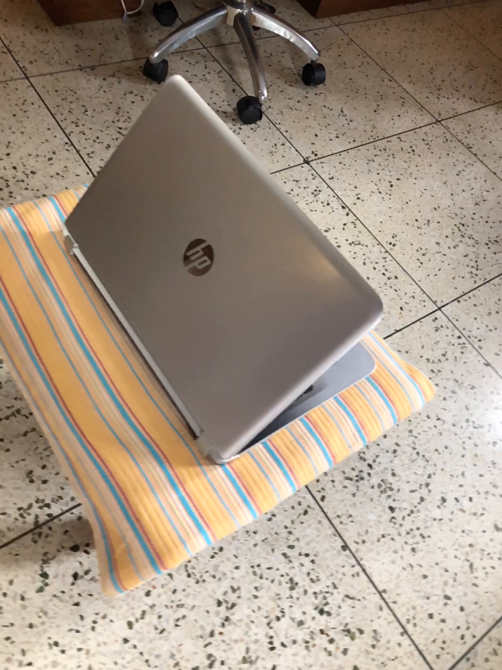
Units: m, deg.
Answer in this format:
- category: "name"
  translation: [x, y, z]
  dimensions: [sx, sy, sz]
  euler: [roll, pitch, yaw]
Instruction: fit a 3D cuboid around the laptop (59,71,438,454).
- category: "laptop"
  translation: [-0.026, -0.102, 0.658]
  dimensions: [0.237, 0.184, 0.372]
  euler: [-26, 67, -27]
